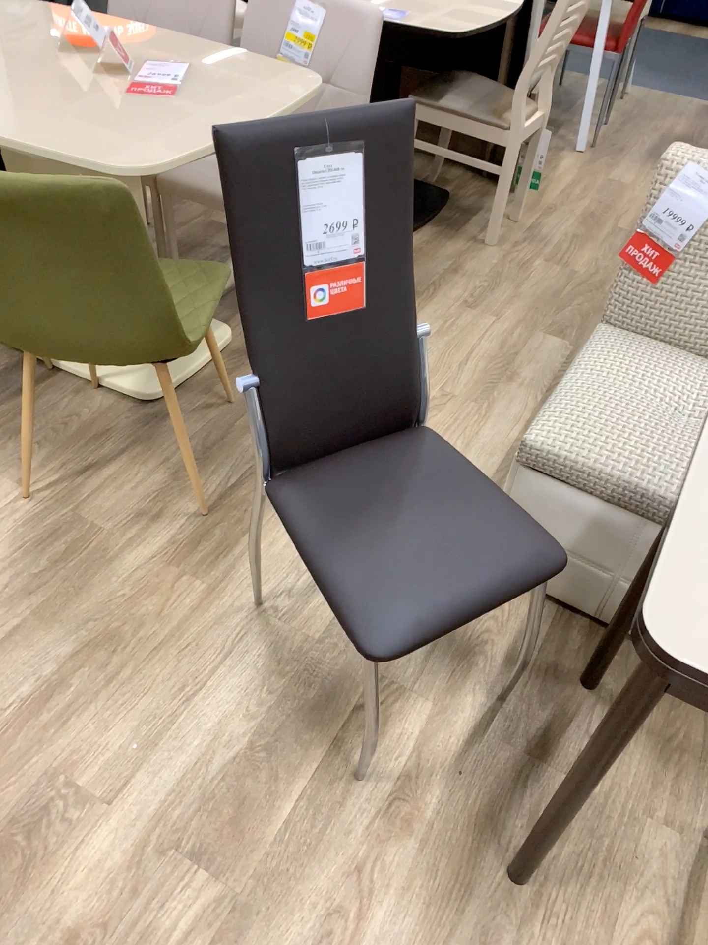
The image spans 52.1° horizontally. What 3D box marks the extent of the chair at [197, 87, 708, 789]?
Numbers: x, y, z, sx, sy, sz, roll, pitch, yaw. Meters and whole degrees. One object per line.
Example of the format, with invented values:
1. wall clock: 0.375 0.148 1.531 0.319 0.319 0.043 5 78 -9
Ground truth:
1. chair: 0.075 -0.001 1.203 0.421 0.995 0.502 -19 49 -23
